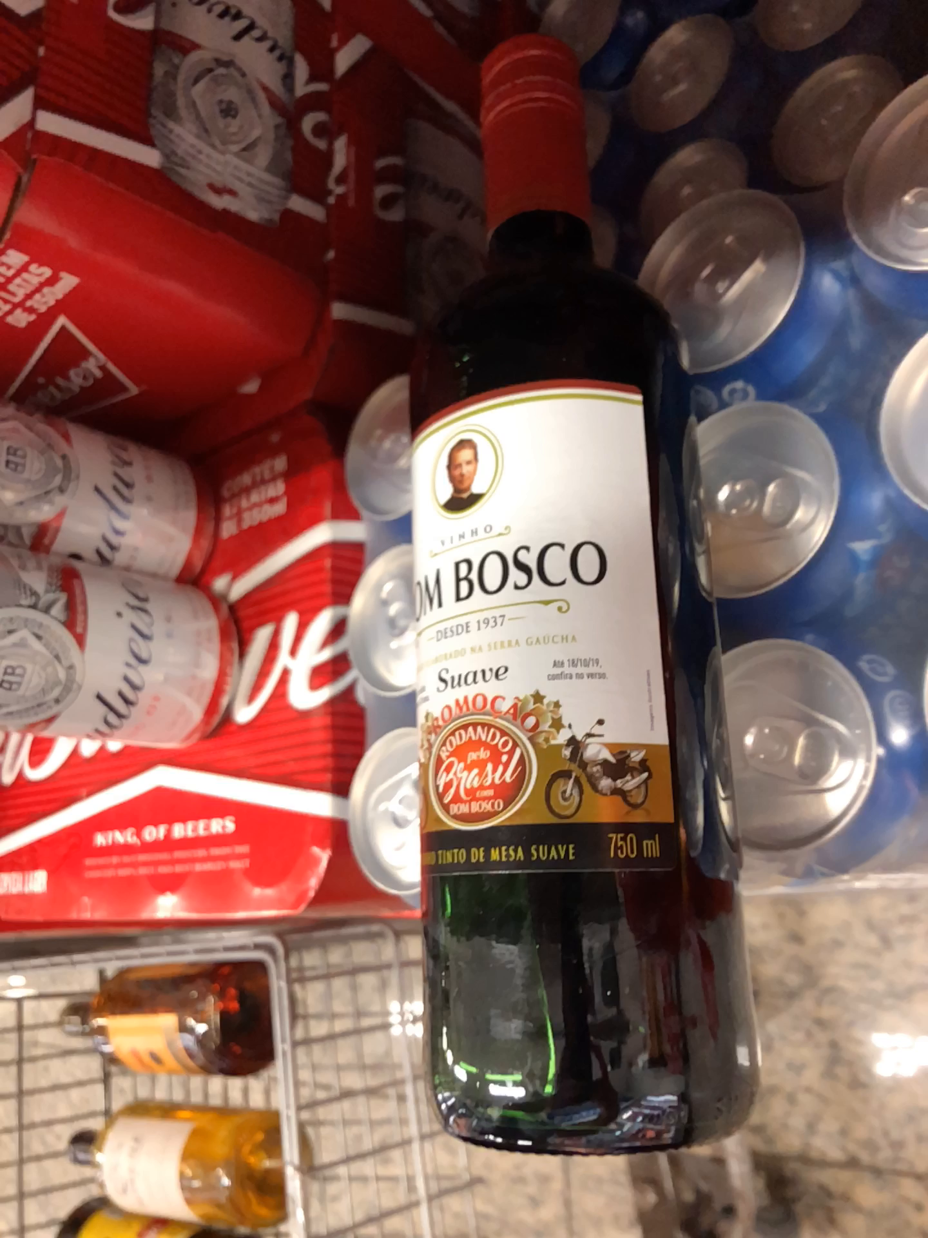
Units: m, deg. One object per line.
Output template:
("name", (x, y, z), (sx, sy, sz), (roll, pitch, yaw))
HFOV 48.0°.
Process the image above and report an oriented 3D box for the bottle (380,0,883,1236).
("bottle", (0.034, -0.026, 0.268), (0.080, 0.070, 0.300), (-15, 72, 42))
